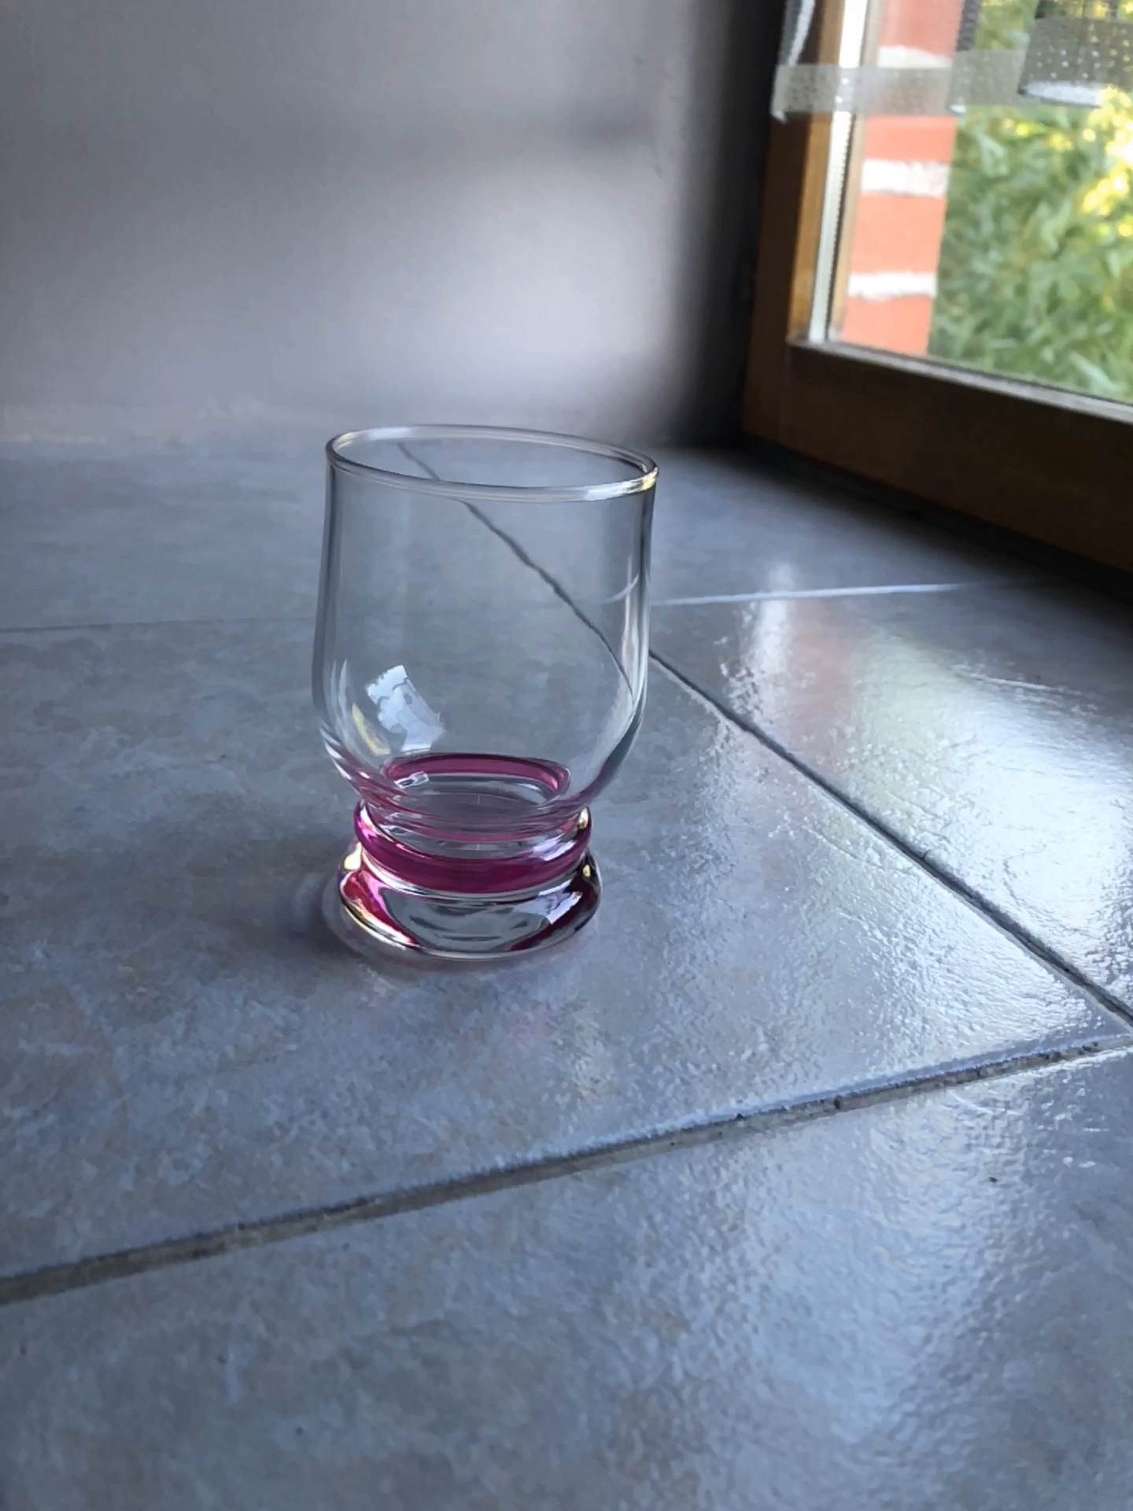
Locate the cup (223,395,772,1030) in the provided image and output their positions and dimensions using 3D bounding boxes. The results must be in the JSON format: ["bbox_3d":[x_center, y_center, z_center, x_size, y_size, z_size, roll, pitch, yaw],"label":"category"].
[{"bbox_3d":[-0.014,-0.017,0.271,0.079,0.102,0.079,3,24,-1],"label":"cup"}]
